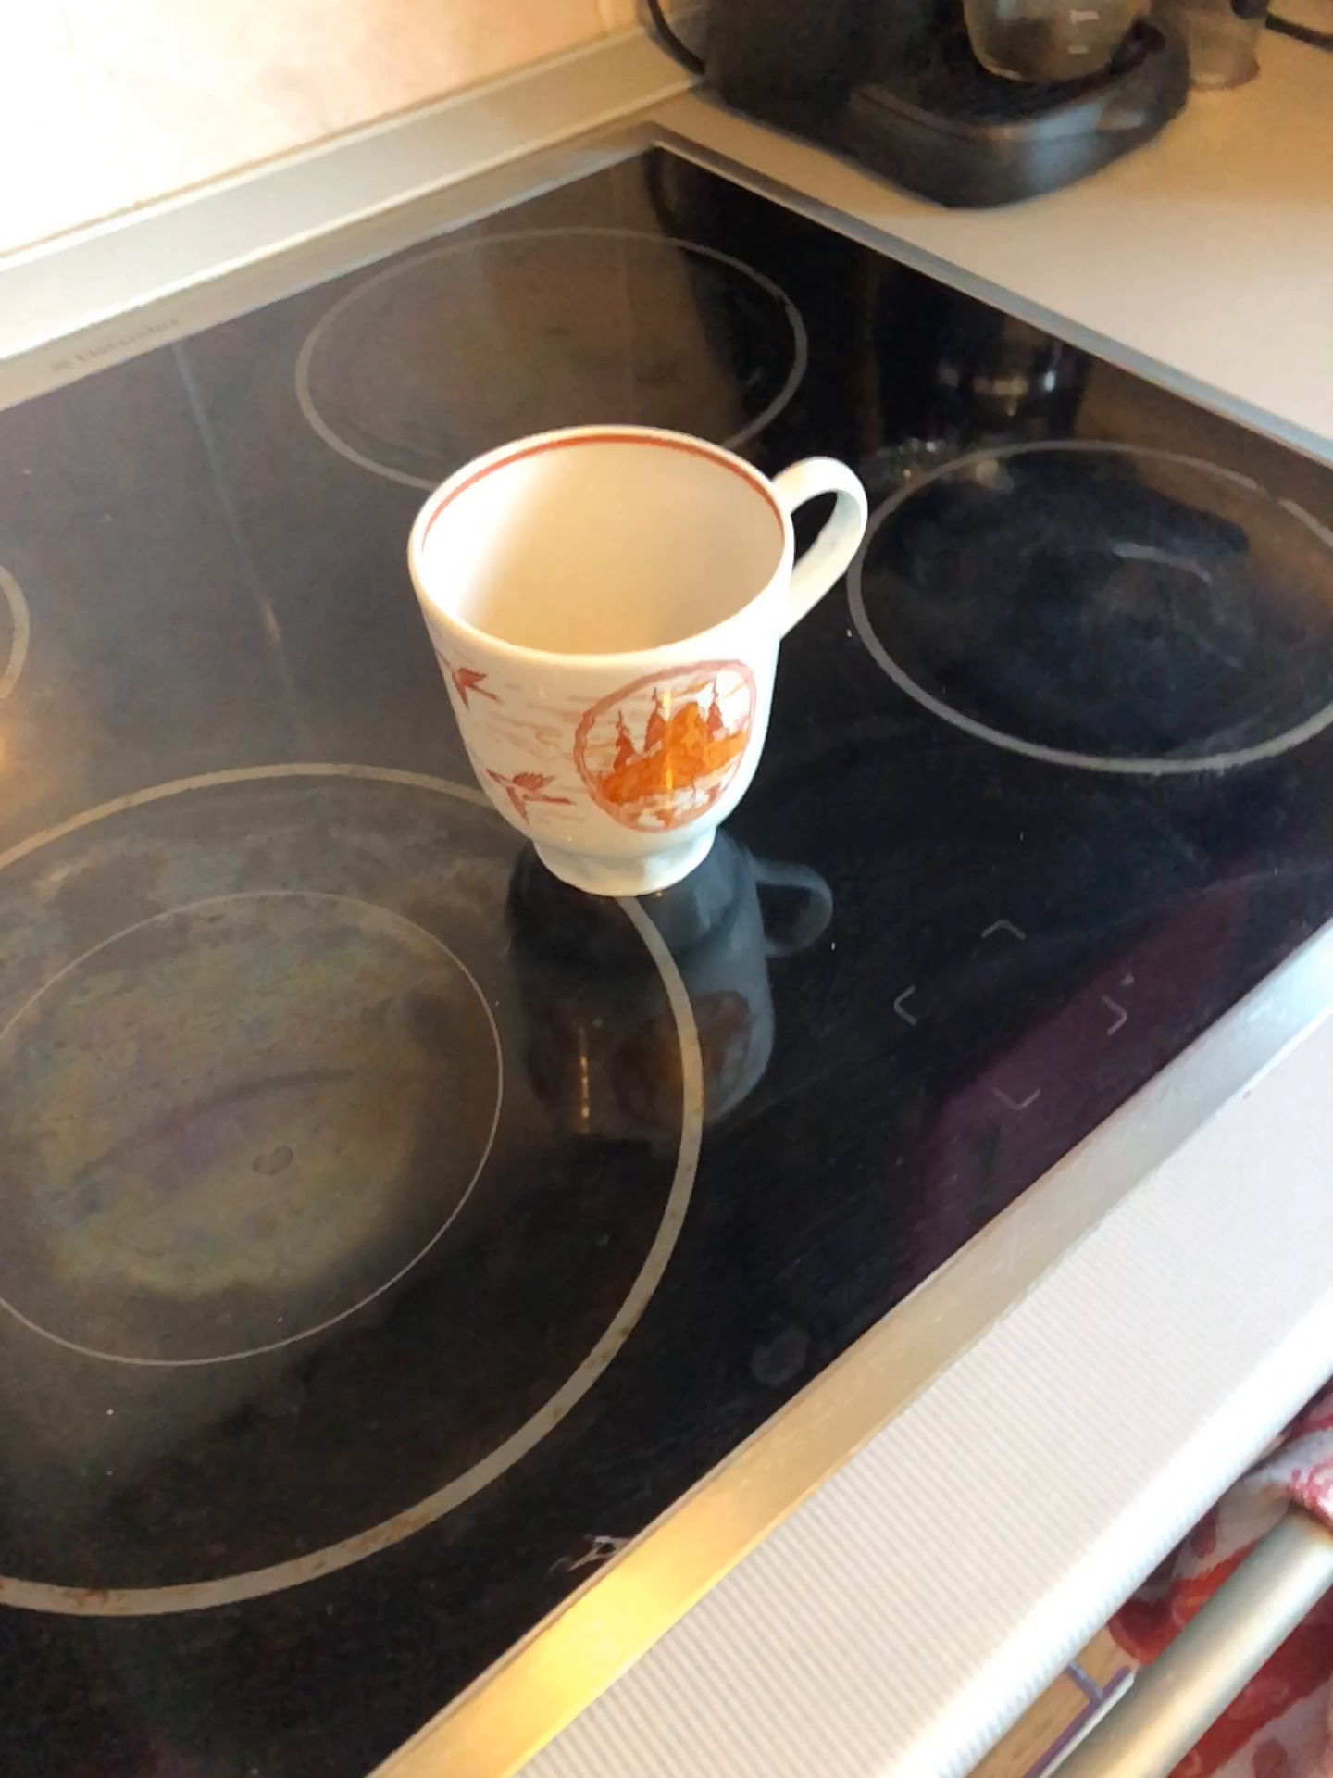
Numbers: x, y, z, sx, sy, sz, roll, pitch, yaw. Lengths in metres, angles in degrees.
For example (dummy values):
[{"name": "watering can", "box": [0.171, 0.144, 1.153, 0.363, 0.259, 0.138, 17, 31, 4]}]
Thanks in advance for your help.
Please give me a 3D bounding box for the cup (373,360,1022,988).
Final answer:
[{"name": "cup", "box": [0.005, -0.055, 0.365, 0.120, 0.090, 0.090, -18, 51, -13]}]
